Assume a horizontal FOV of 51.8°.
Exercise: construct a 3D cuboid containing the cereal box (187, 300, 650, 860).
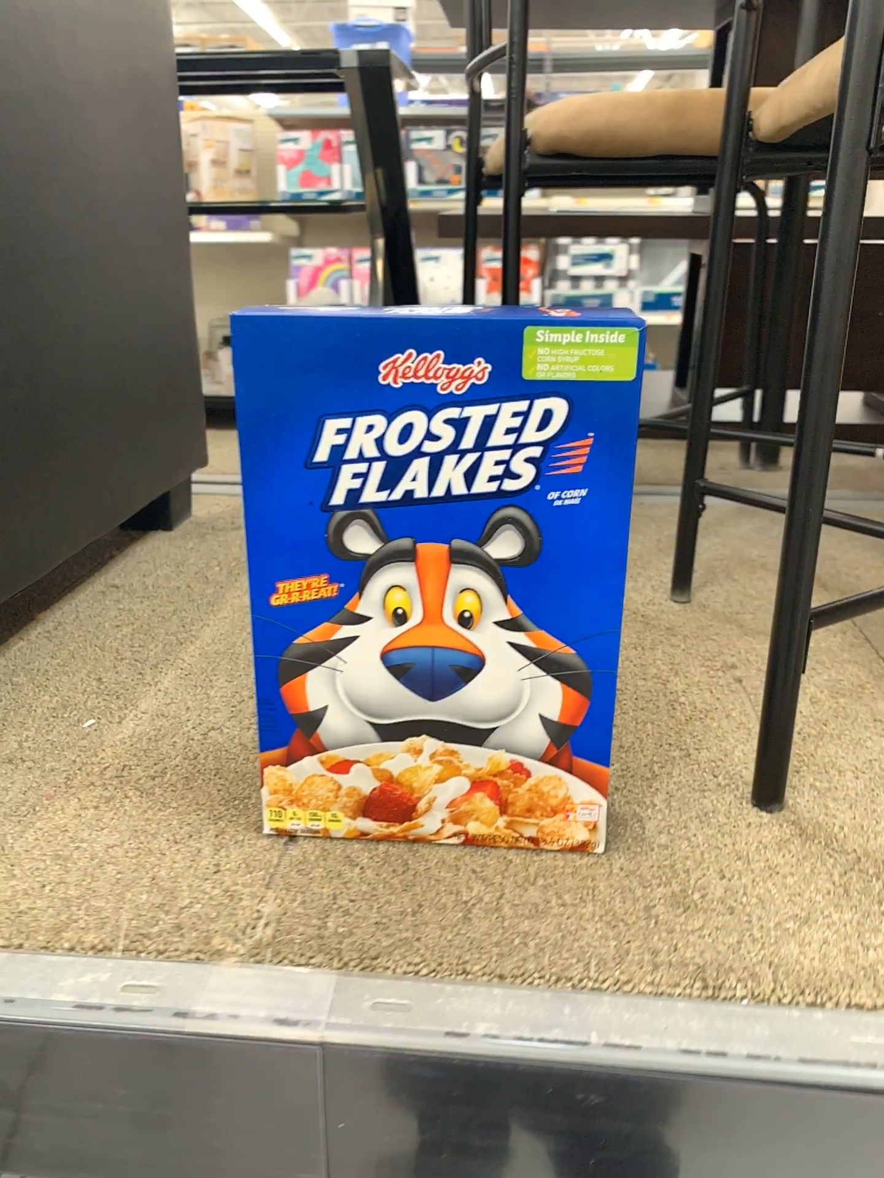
[{"bbox_3d":[-0.010,-0.002,0.493,0.210,0.289,0.070,2,20,5],"label":"cereal box"}]
